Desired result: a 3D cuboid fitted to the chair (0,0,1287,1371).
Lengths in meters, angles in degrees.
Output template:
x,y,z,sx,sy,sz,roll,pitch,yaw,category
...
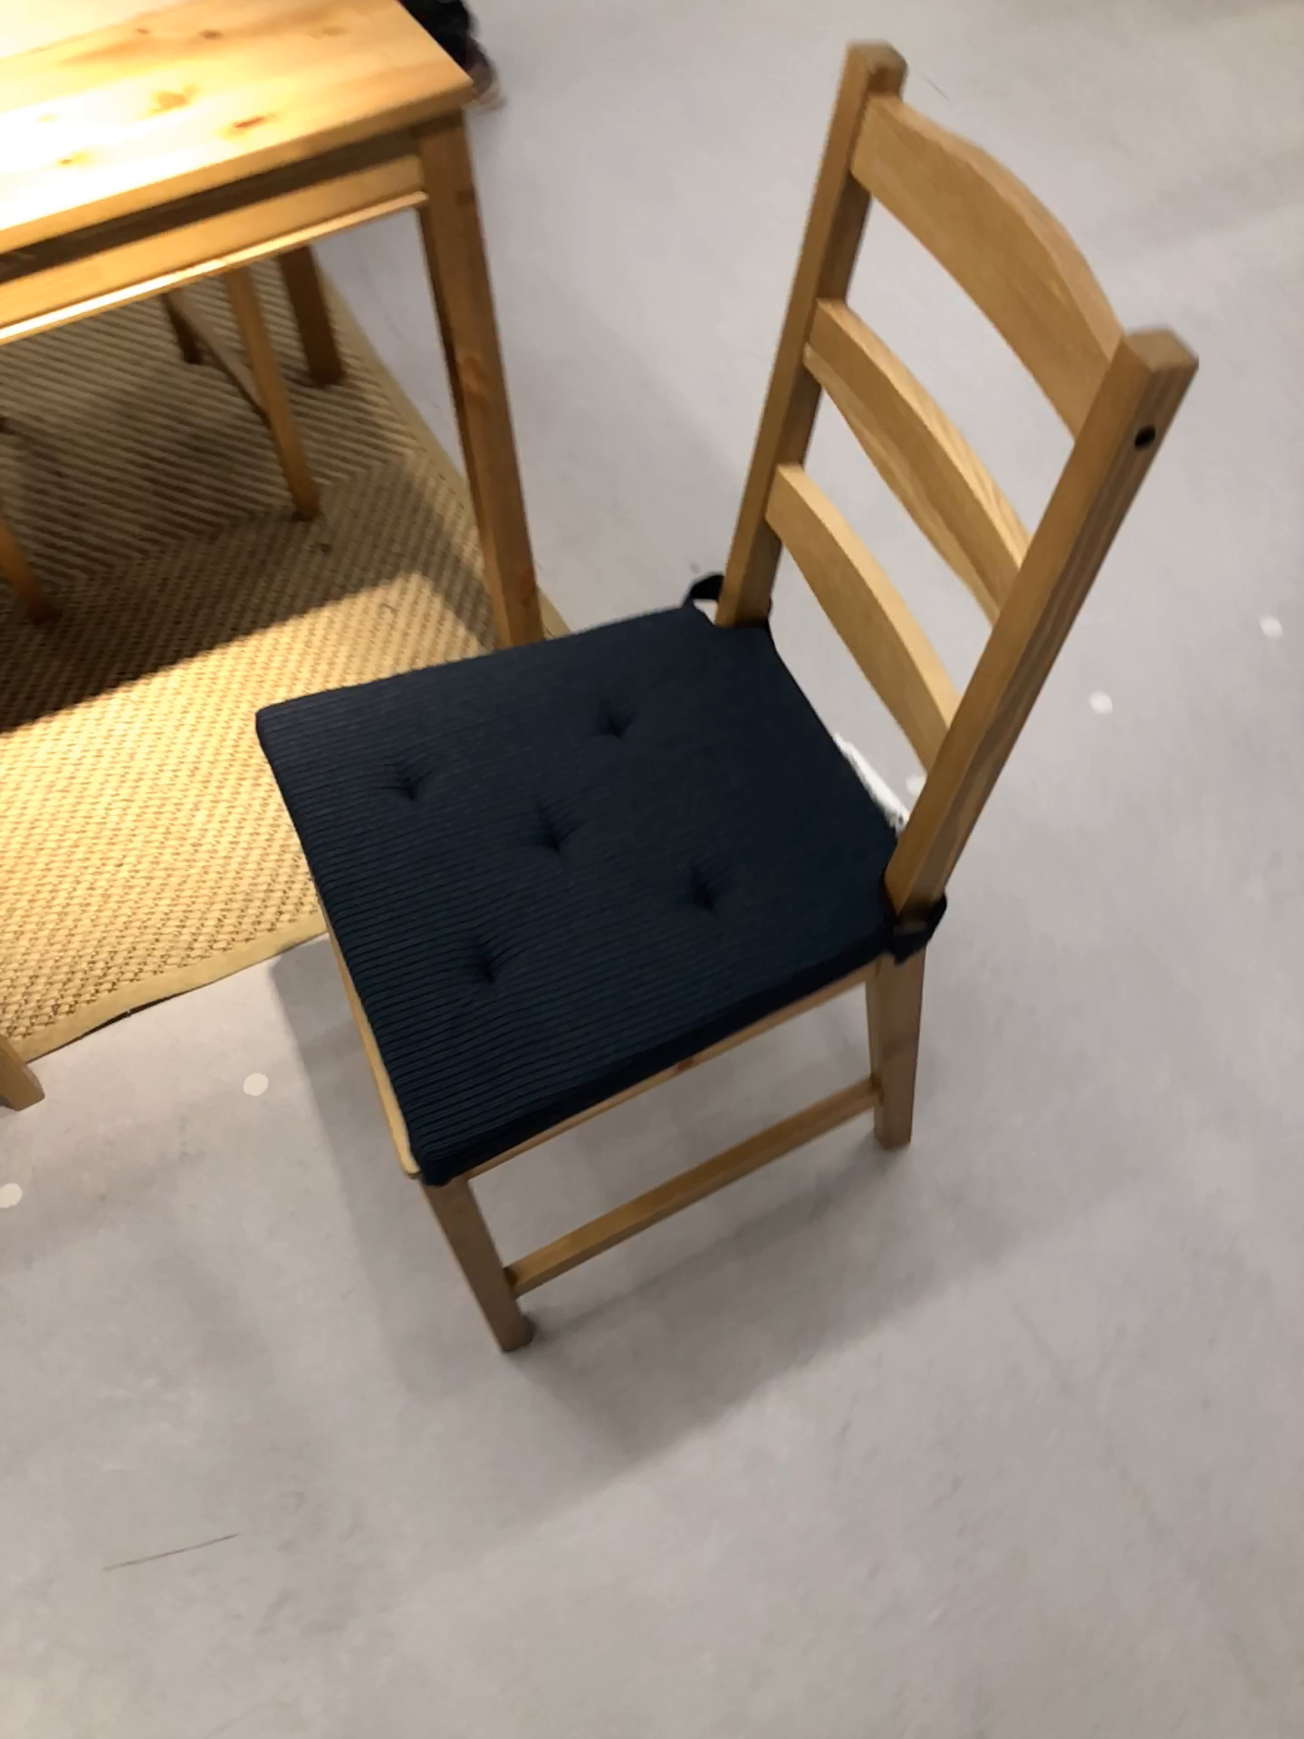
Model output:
x,y,z,sx,sy,sz,roll,pitch,yaw,category
-0.017,-0.057,1.075,0.520,0.865,0.442,-22,57,-11,chair
